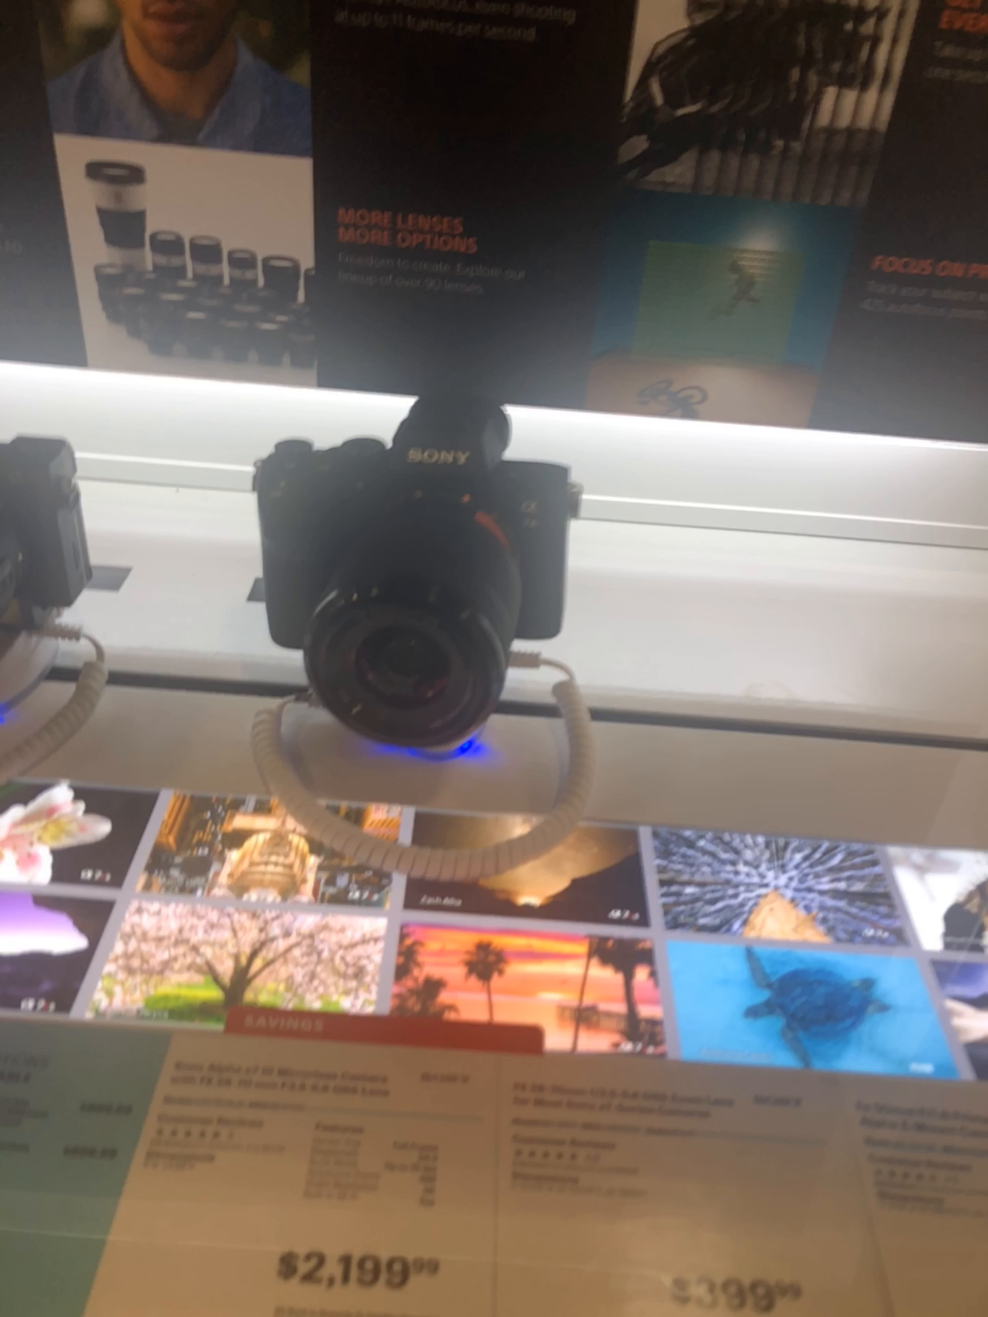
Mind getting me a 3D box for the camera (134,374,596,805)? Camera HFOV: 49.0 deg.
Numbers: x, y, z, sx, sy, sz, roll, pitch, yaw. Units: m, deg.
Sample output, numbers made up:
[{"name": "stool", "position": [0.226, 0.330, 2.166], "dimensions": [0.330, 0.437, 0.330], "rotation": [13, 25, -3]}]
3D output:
[{"name": "camera", "position": [-0.039, -0.032, 0.411], "dimensions": [0.140, 0.090, 0.141], "rotation": [6, 35, -1]}]
